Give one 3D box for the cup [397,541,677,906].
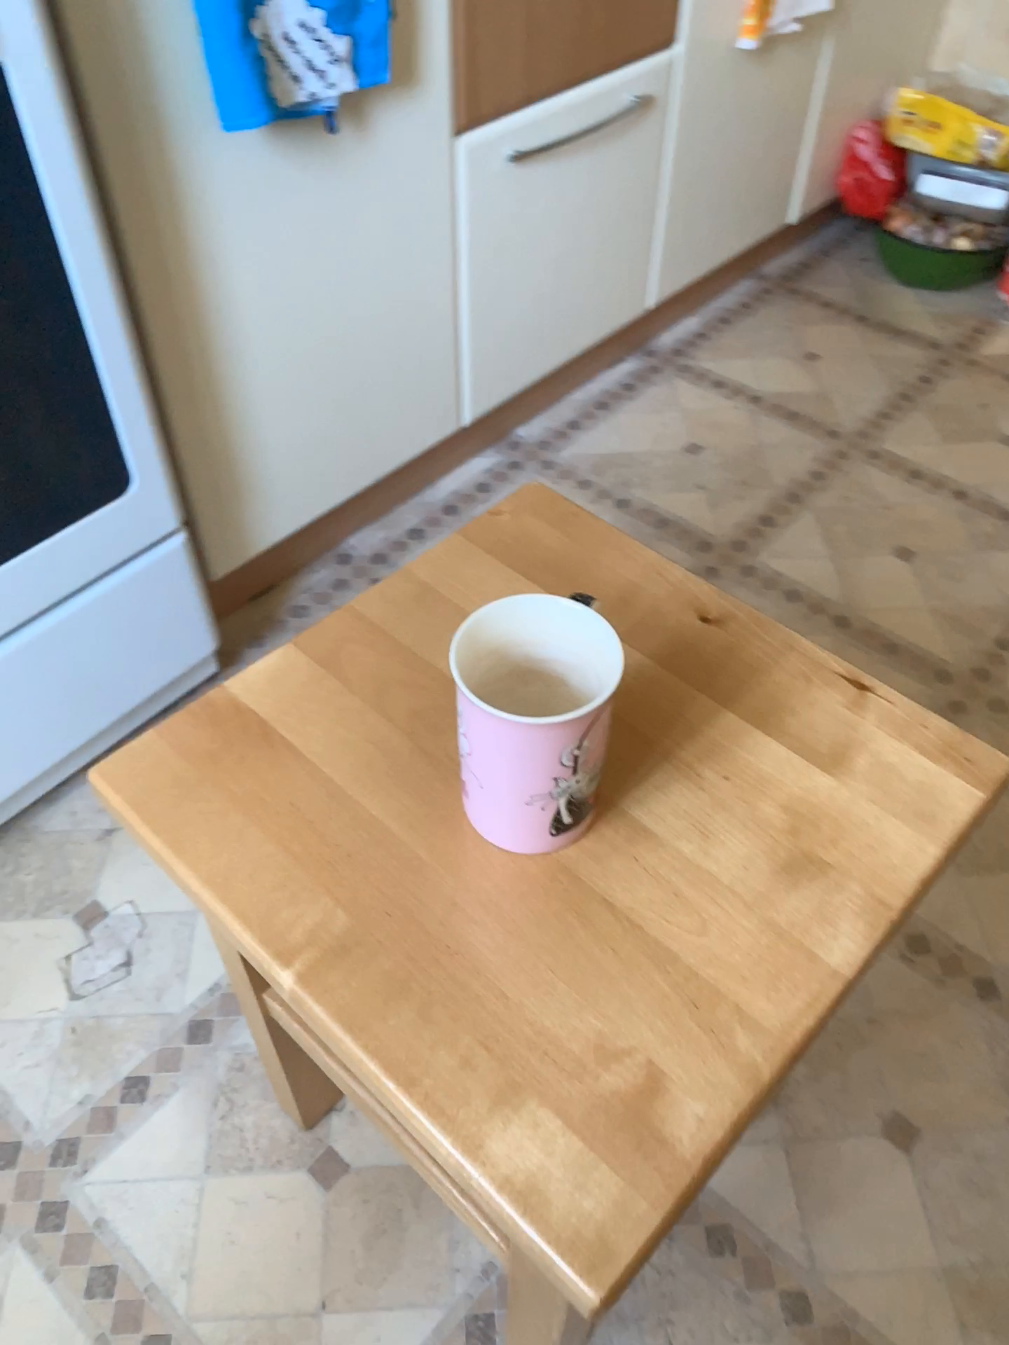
[{"bbox_3d":[0.016,0.022,0.474,0.080,0.099,0.111,20,50,17],"label":"cup"}]
